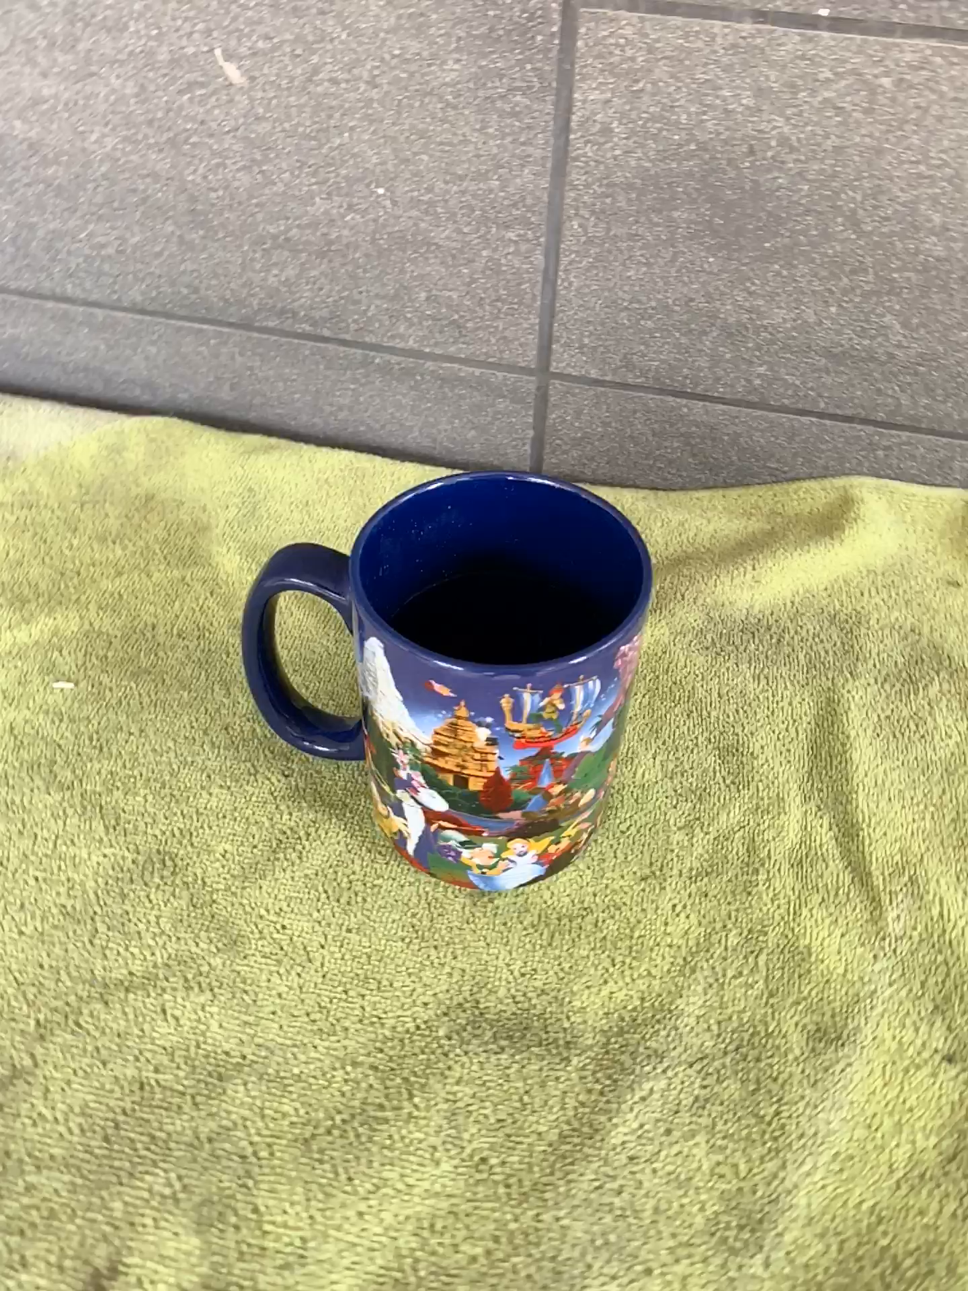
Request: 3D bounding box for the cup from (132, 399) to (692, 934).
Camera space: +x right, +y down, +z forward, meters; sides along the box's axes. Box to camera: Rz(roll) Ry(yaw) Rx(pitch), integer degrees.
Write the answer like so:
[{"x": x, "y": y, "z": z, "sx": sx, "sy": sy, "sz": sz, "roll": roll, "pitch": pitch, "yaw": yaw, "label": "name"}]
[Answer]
[{"x": -0.016, "y": 0.006, "z": 0.312, "sx": 0.130, "sy": 0.110, "sz": 0.090, "roll": 14, "pitch": 47, "yaw": 11, "label": "cup"}]
